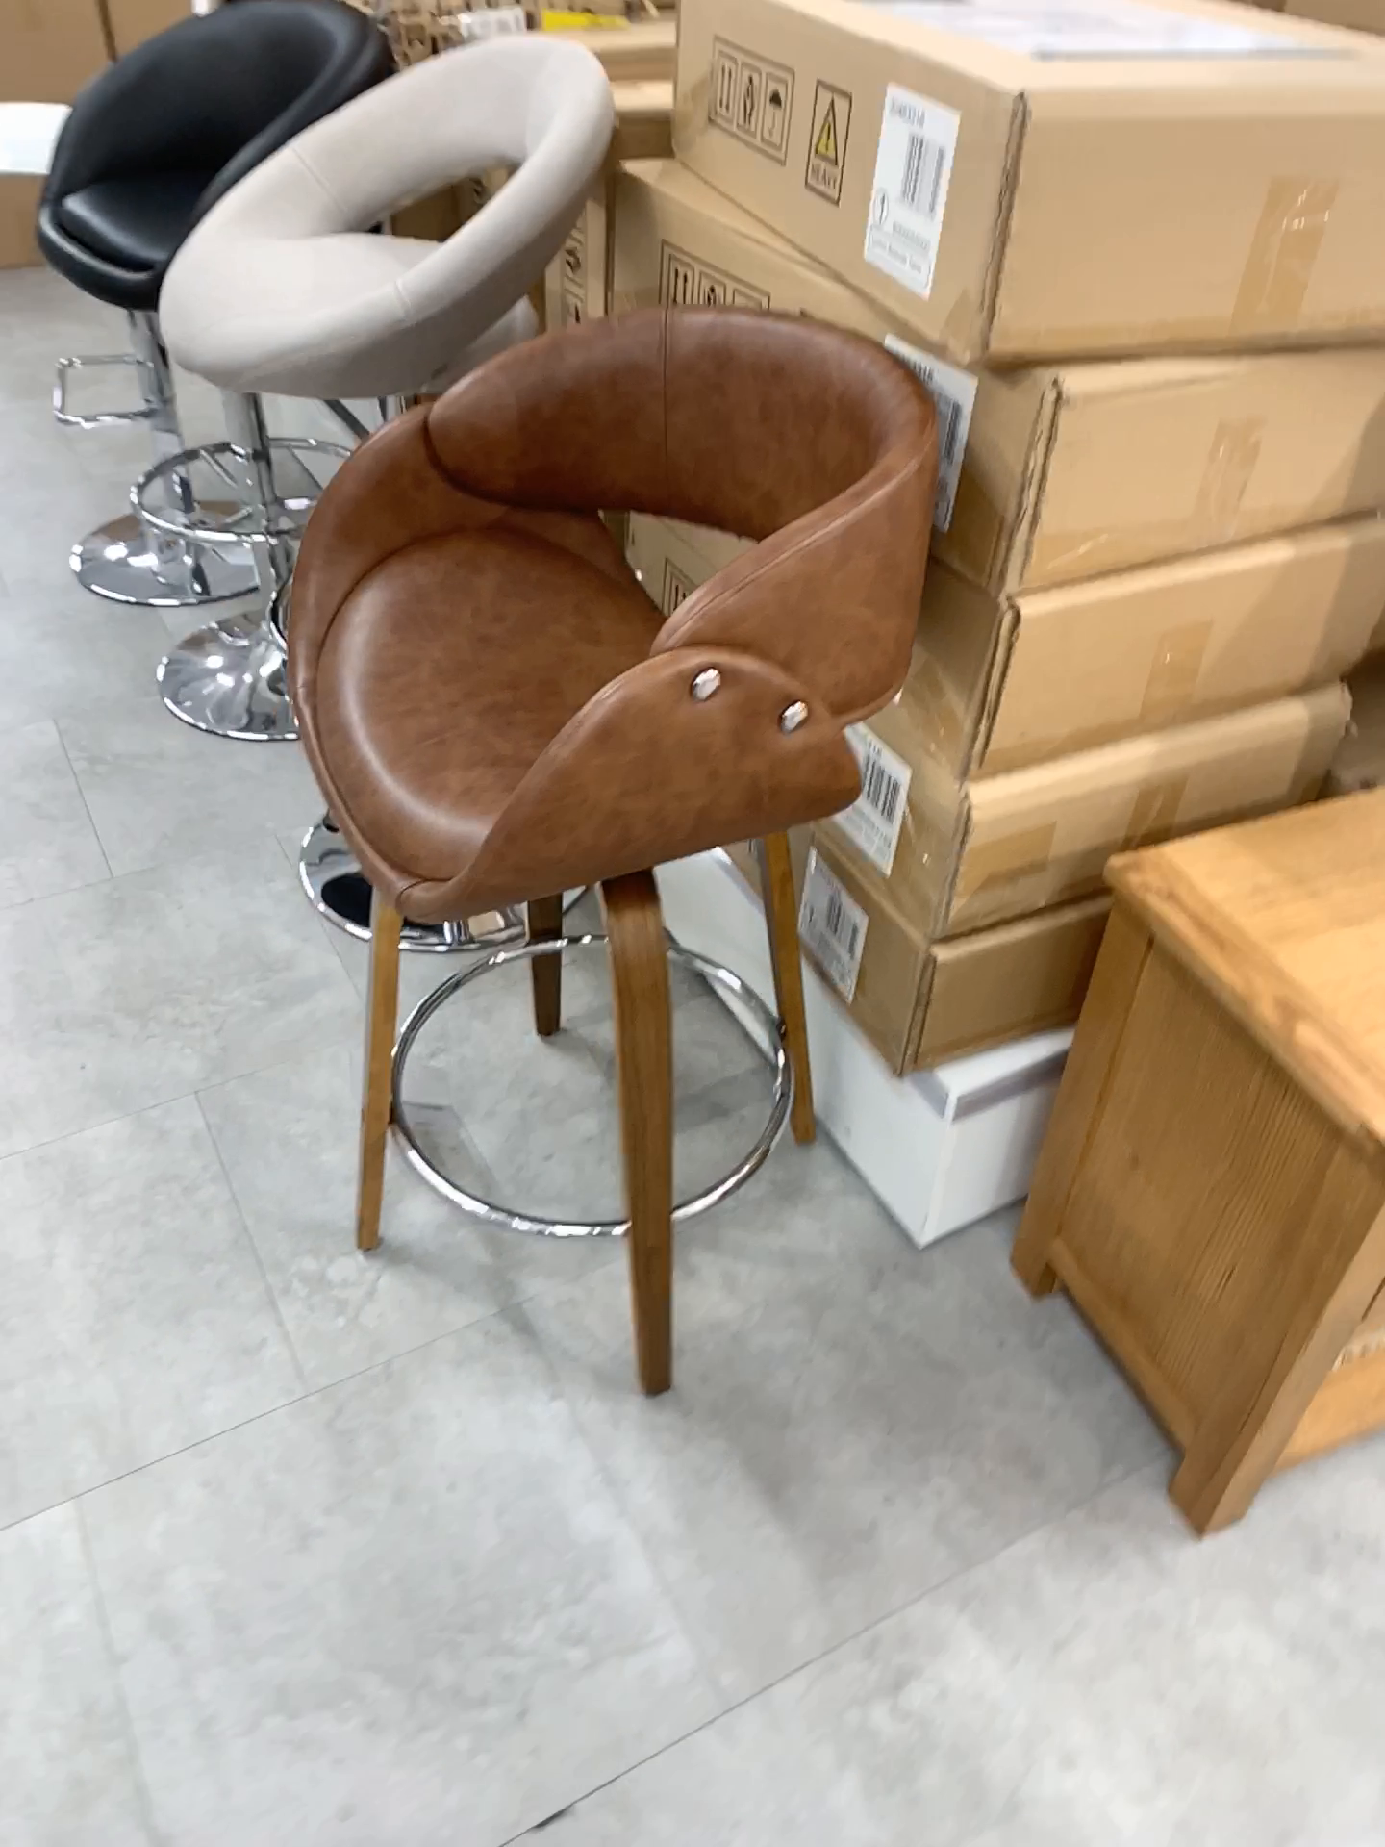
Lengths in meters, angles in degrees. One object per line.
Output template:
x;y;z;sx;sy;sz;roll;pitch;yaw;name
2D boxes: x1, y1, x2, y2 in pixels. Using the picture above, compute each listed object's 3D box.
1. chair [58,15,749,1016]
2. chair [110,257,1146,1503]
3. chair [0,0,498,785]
-0.309;-0.470;1.679;0.521;0.945;0.497;-19;45;-23;chair
-0.088;-0.042;1.268;0.551;0.846;0.548;-17;44;-21;chair
-0.621;-0.753;2.004;0.471;0.886;0.497;-19;45;-23;chair
